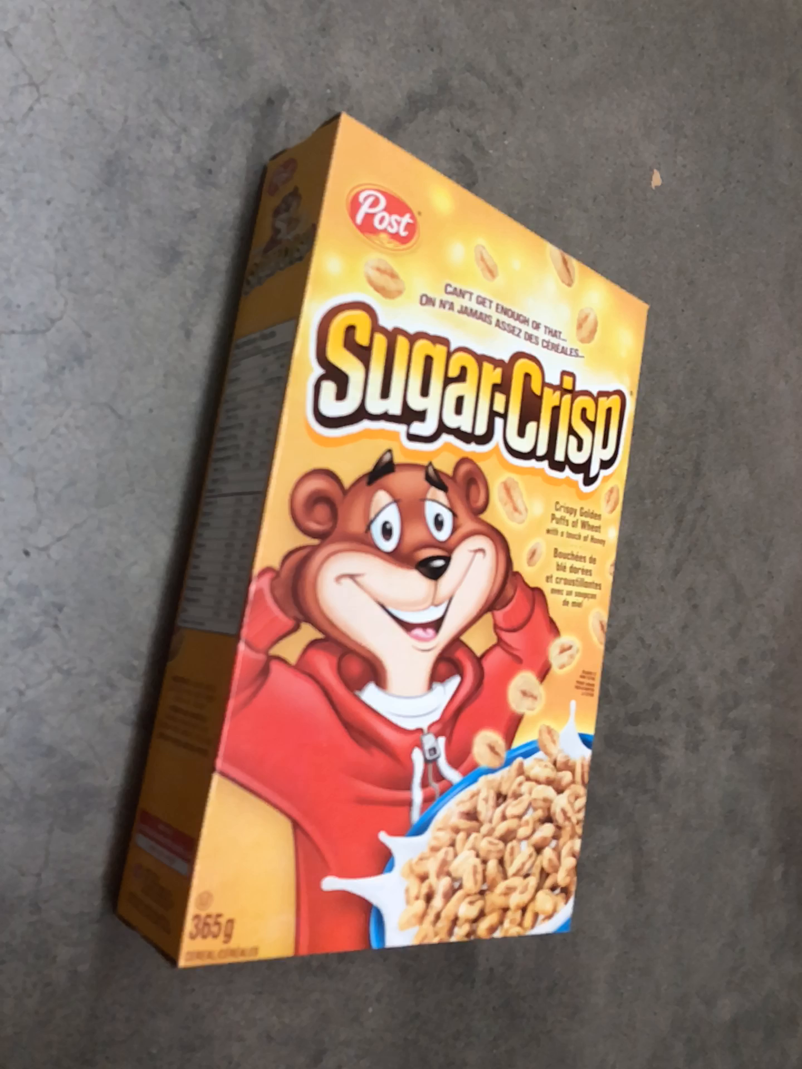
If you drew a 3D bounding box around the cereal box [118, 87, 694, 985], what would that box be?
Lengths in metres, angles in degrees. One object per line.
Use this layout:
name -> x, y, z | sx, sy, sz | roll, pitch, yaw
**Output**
cereal box -> 0.021, 0.012, 0.368 | 0.201, 0.060, 0.300 | 16, 80, -37
